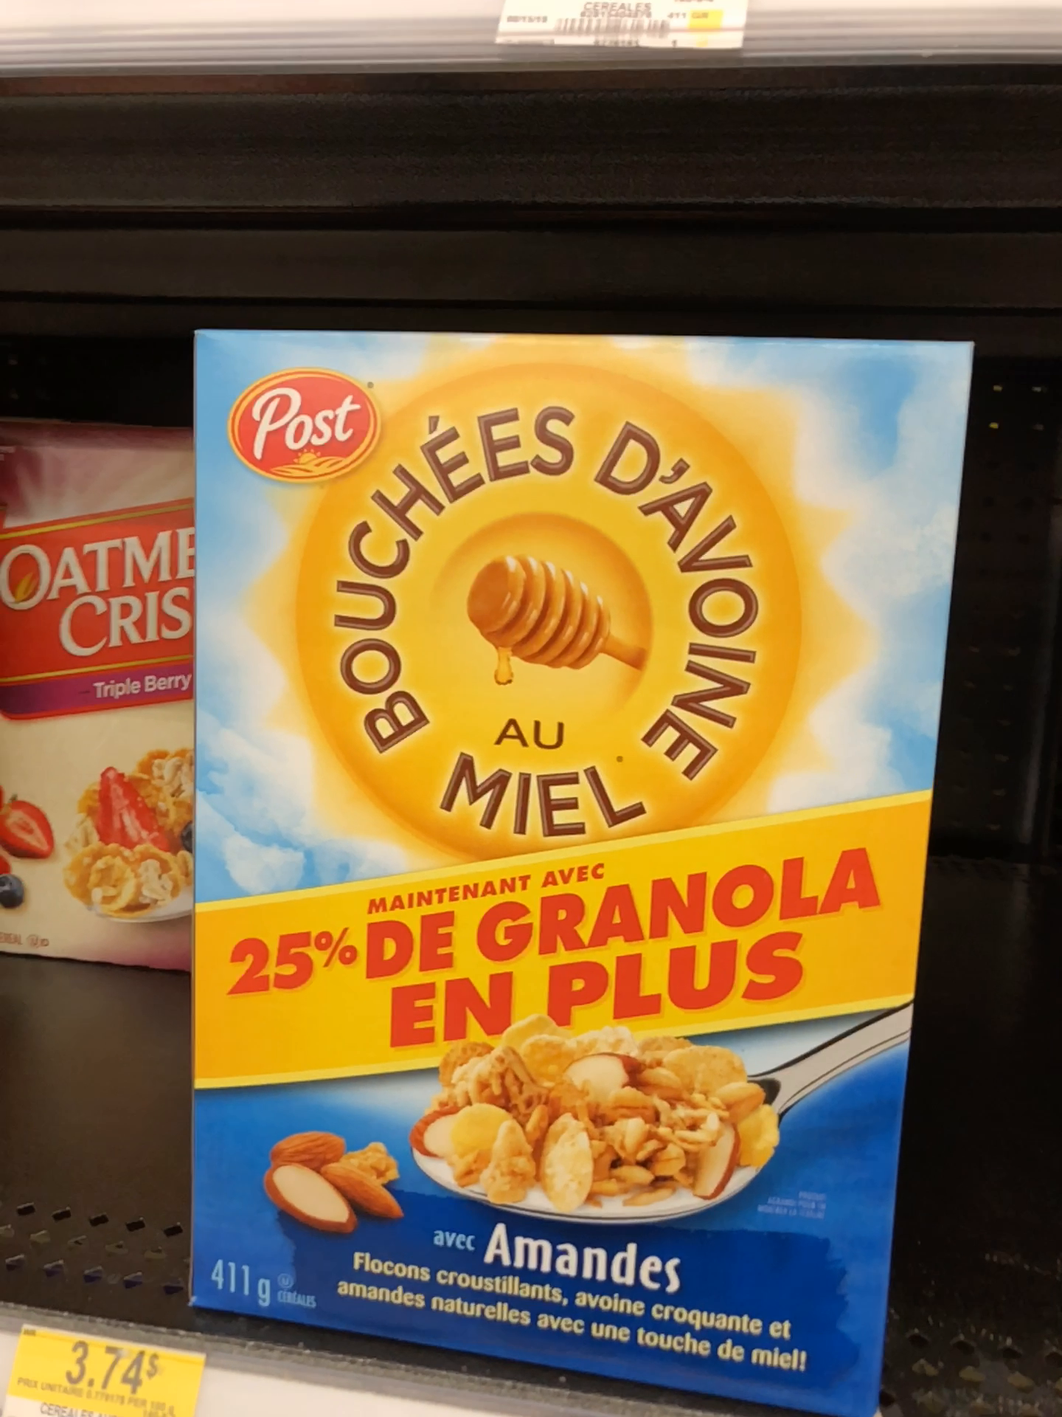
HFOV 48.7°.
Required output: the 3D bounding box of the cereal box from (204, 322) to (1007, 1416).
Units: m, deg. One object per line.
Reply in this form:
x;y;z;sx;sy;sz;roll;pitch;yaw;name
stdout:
0.013;0.039;0.326;0.190;0.269;0.060;4;8;12;cereal box
